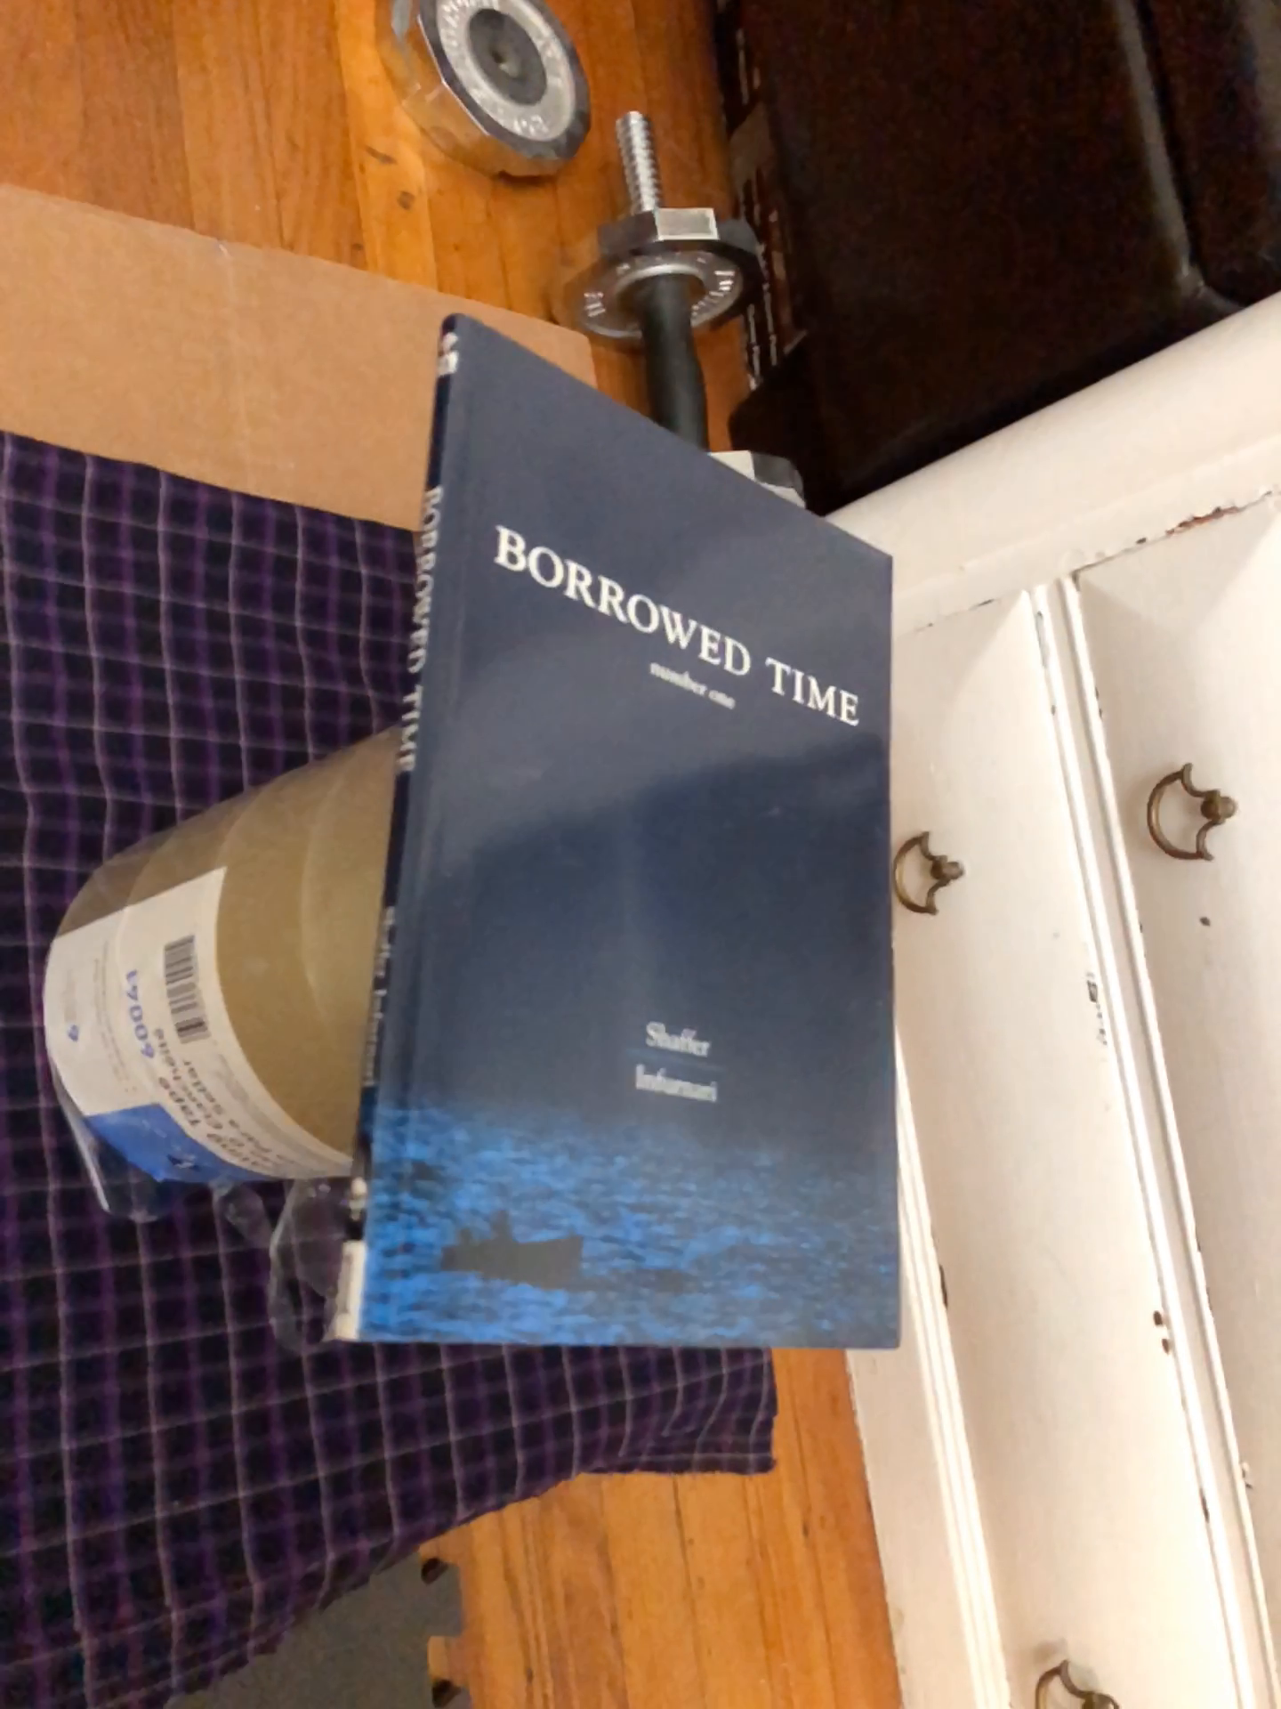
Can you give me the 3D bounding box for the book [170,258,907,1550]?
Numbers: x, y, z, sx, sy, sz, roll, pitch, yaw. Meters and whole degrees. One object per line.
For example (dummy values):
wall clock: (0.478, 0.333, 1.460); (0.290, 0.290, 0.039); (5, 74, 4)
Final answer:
book: (-0.002, 0.011, 0.292); (0.161, 0.010, 0.230); (19, 63, -39)
